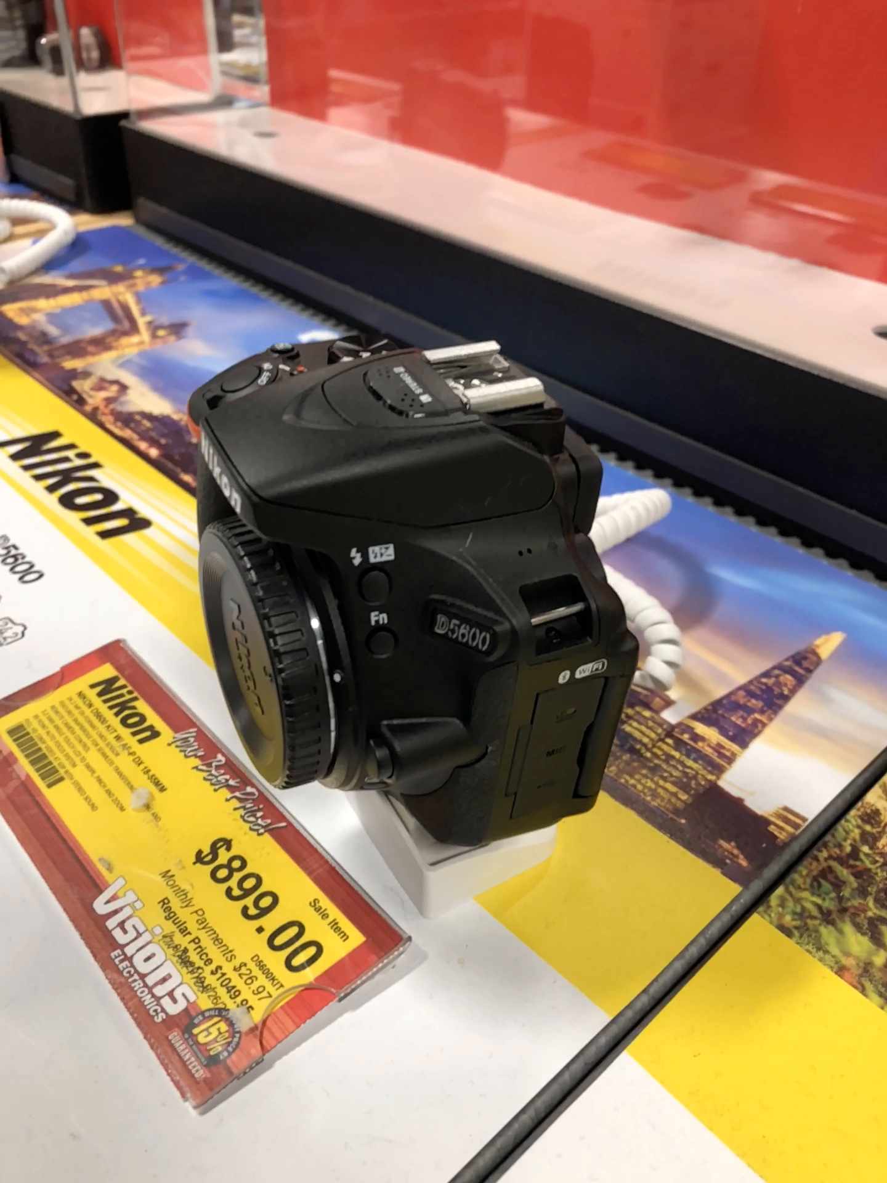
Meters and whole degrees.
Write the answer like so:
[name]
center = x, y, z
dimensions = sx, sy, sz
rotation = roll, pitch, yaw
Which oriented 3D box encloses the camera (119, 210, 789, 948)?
[camera]
center = -0.013, -0.017, 0.225
dimensions = 0.080, 0.089, 0.141
rotation = -13, 42, -24
